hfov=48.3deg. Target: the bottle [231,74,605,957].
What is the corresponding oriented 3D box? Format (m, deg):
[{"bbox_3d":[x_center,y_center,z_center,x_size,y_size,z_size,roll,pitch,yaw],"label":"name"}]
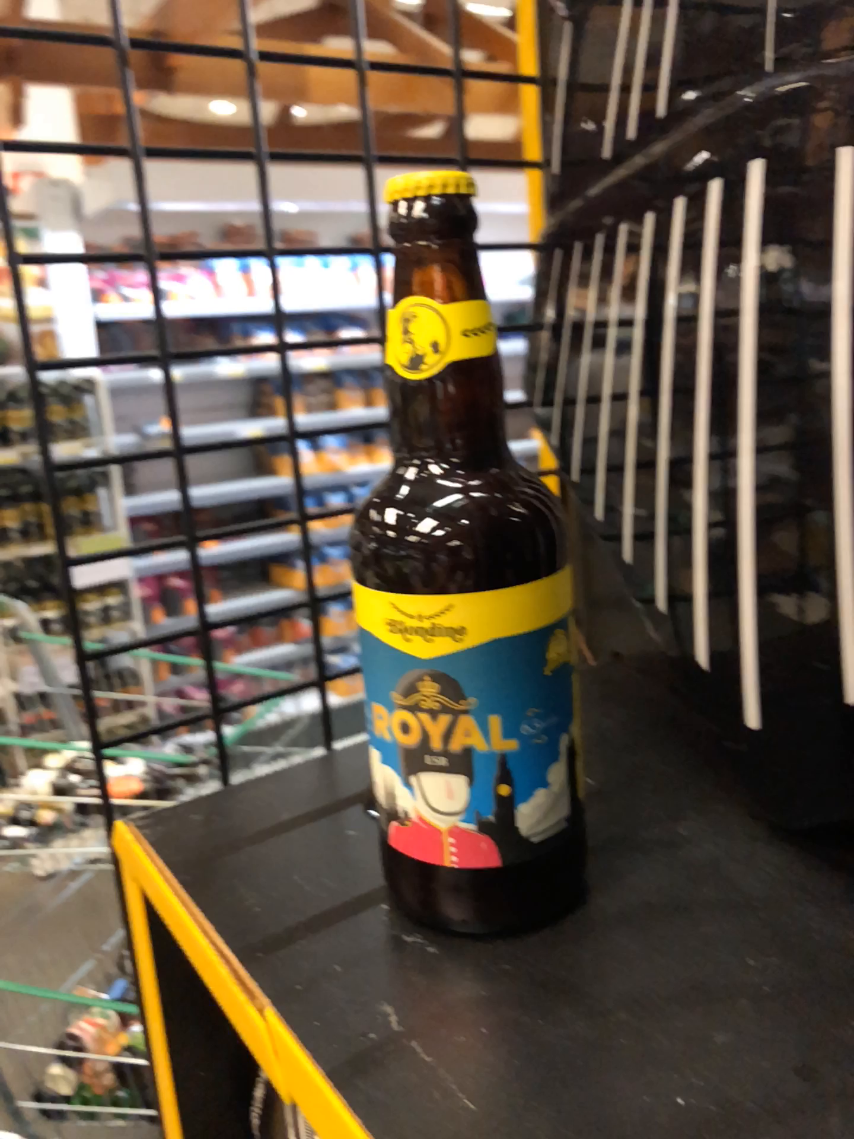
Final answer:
[{"bbox_3d":[0.006,-0.012,0.300,0.080,0.239,0.070,2,15,23],"label":"bottle"}]
